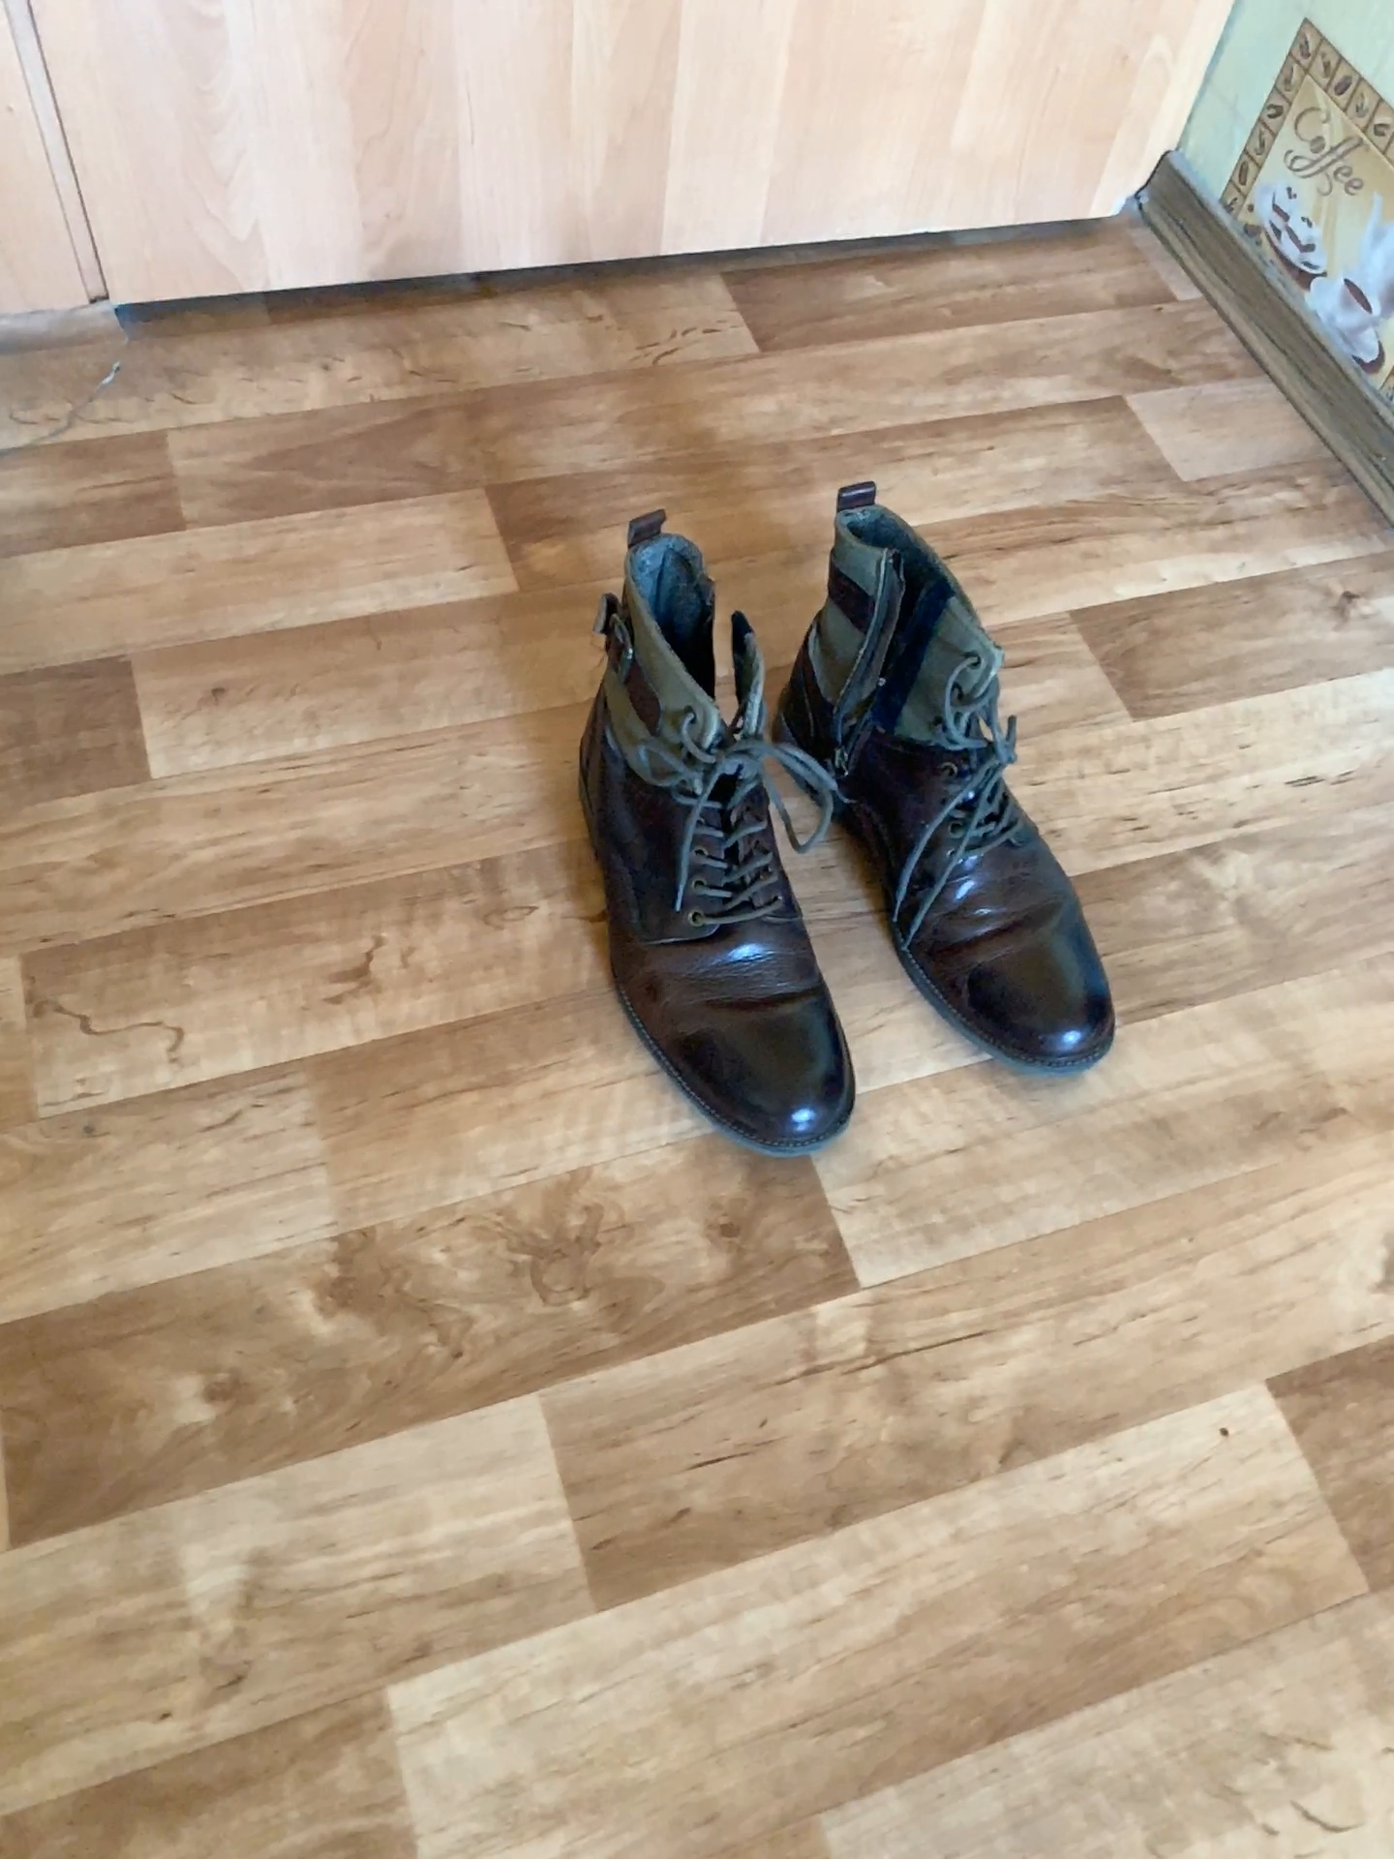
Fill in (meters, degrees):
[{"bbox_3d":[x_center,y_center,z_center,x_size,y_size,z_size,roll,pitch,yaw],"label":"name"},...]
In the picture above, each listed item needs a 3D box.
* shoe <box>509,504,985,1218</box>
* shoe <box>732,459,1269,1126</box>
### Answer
[{"bbox_3d":[0.006,-0.040,0.712,0.110,0.150,0.311,-15,62,-16],"label":"shoe"},{"bbox_3d":[0.139,-0.078,0.758,0.110,0.150,0.311,-17,62,-16],"label":"shoe"}]
